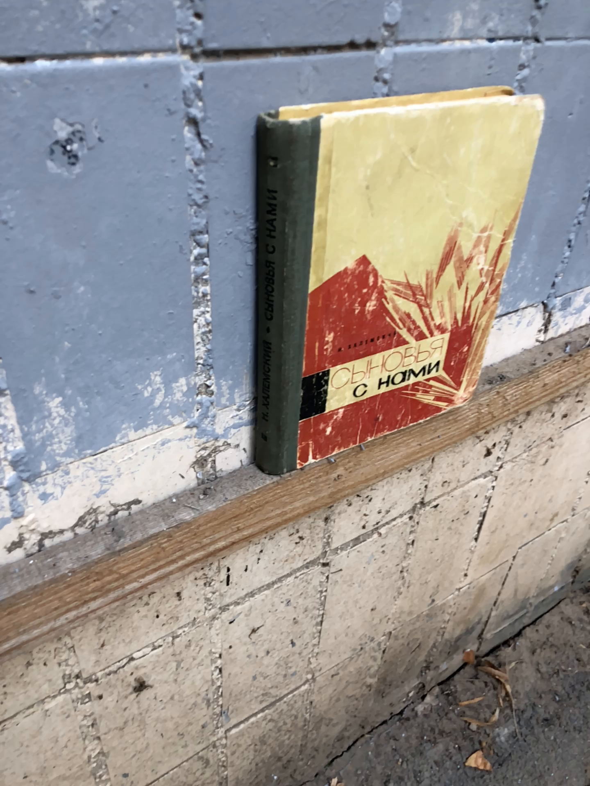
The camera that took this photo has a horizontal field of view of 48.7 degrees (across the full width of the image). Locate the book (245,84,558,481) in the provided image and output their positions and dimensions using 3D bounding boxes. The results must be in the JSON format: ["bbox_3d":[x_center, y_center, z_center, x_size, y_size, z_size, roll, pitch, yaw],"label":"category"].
[{"bbox_3d":[0.047,-0.053,0.312,0.140,0.162,0.032,-18,38,-27],"label":"book"}]
